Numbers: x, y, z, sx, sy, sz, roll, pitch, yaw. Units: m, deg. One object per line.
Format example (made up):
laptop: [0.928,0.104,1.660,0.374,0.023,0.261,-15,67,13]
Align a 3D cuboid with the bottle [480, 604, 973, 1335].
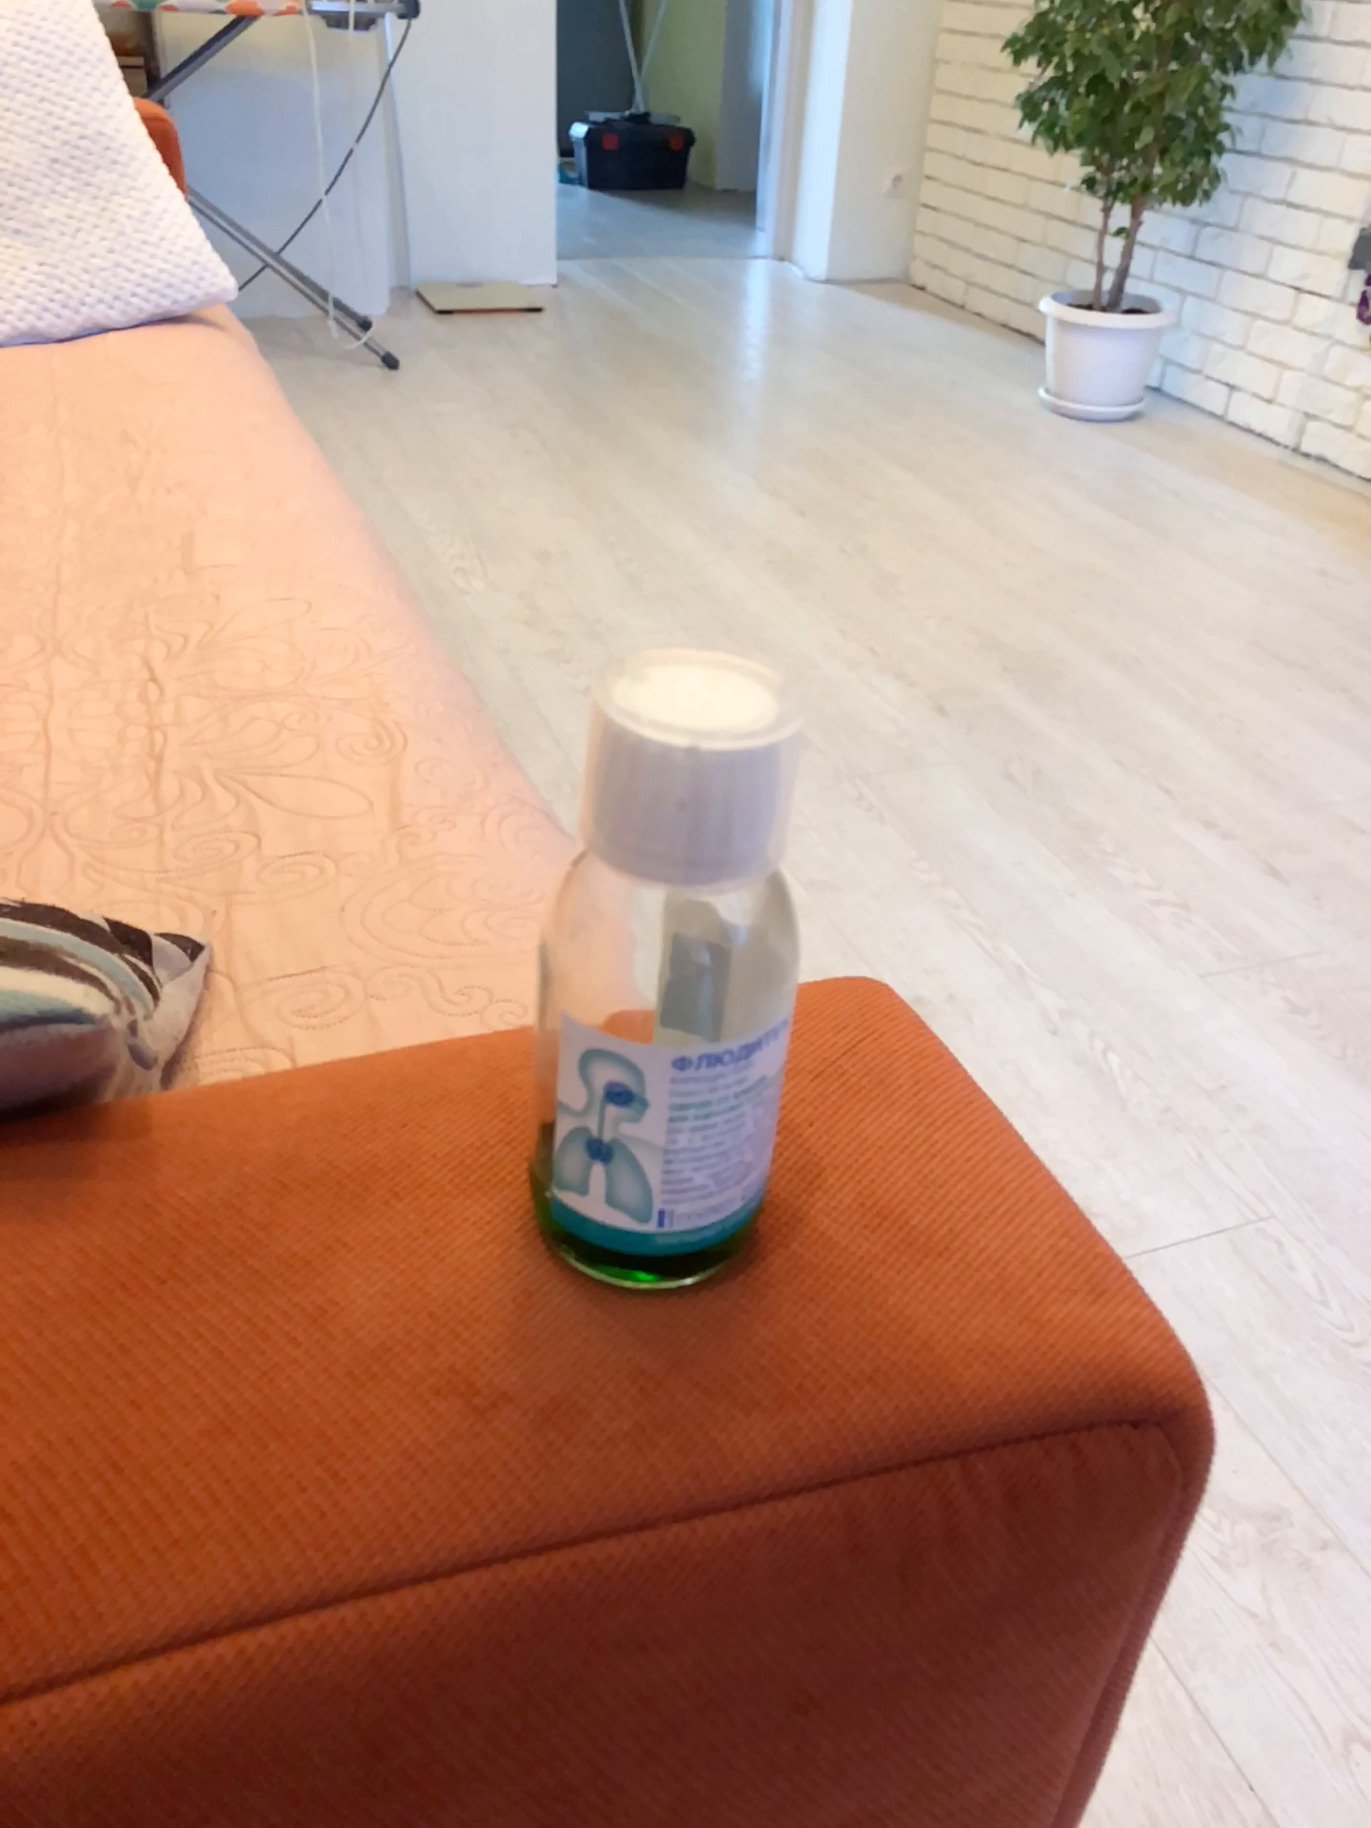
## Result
bottle: [0.002,0.009,0.270,0.060,0.106,0.060,3,32,-2]
